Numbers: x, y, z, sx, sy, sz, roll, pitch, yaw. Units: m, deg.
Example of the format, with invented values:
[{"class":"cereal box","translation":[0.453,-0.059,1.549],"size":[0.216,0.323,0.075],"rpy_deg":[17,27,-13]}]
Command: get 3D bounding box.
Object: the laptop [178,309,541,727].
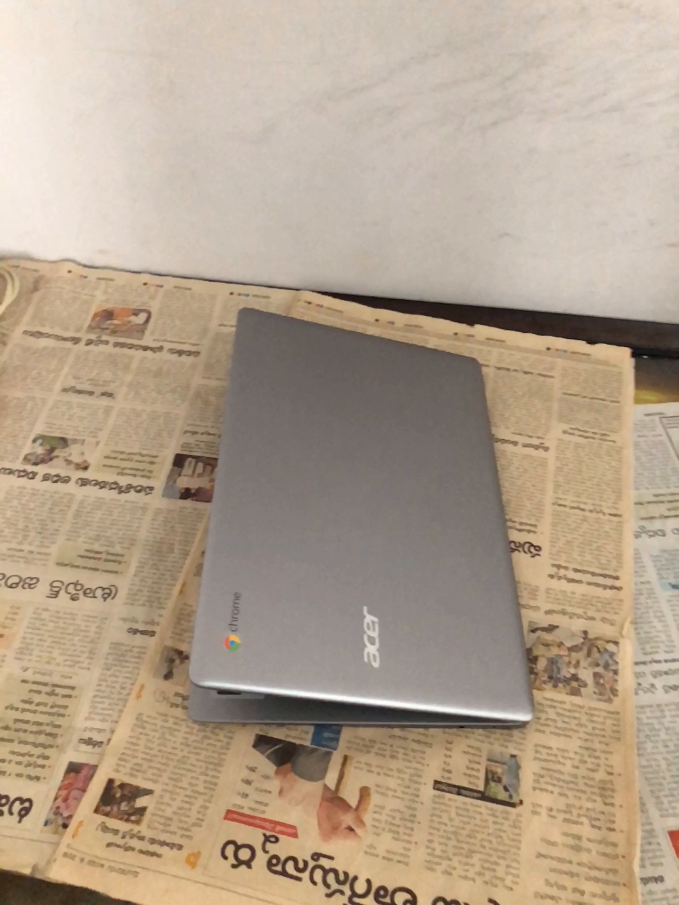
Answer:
[{"class":"laptop","translation":[0.013,0.026,0.561],"size":[0.210,0.058,0.332],"rpy_deg":[1,51,0]}]
